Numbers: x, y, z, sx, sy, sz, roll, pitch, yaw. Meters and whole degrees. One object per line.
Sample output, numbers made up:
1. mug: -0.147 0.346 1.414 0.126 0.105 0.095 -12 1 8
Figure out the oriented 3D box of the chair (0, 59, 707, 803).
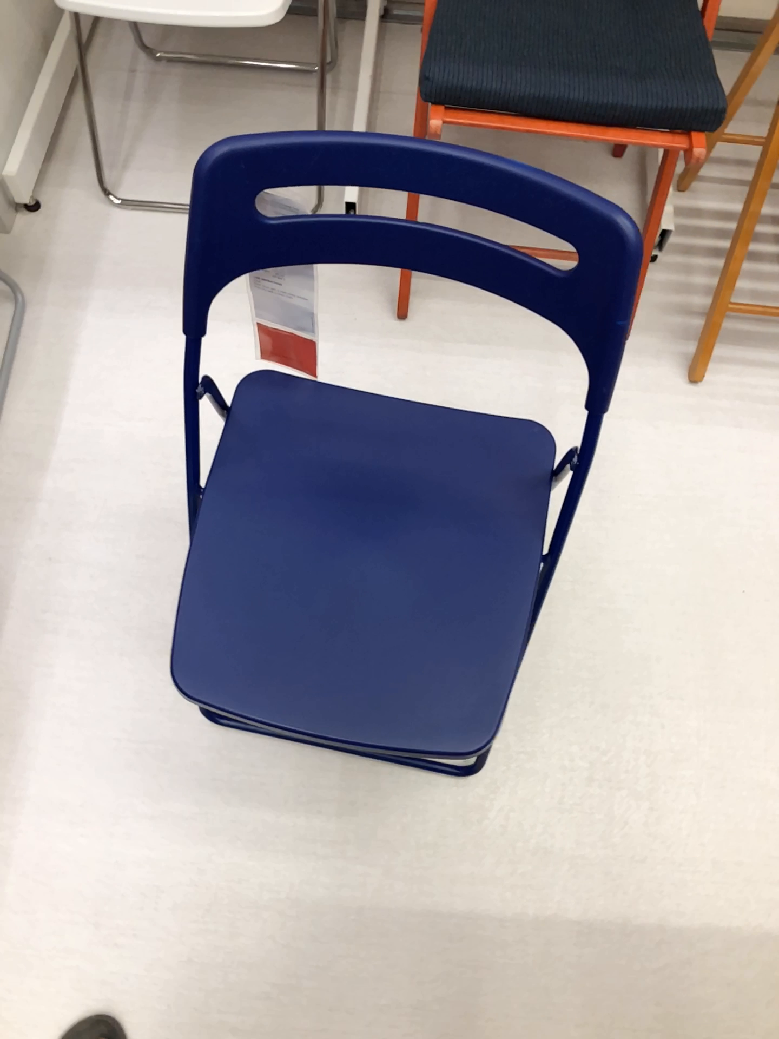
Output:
1. chair: -0.009 -0.010 0.985 0.460 0.698 0.501 11 67 3
